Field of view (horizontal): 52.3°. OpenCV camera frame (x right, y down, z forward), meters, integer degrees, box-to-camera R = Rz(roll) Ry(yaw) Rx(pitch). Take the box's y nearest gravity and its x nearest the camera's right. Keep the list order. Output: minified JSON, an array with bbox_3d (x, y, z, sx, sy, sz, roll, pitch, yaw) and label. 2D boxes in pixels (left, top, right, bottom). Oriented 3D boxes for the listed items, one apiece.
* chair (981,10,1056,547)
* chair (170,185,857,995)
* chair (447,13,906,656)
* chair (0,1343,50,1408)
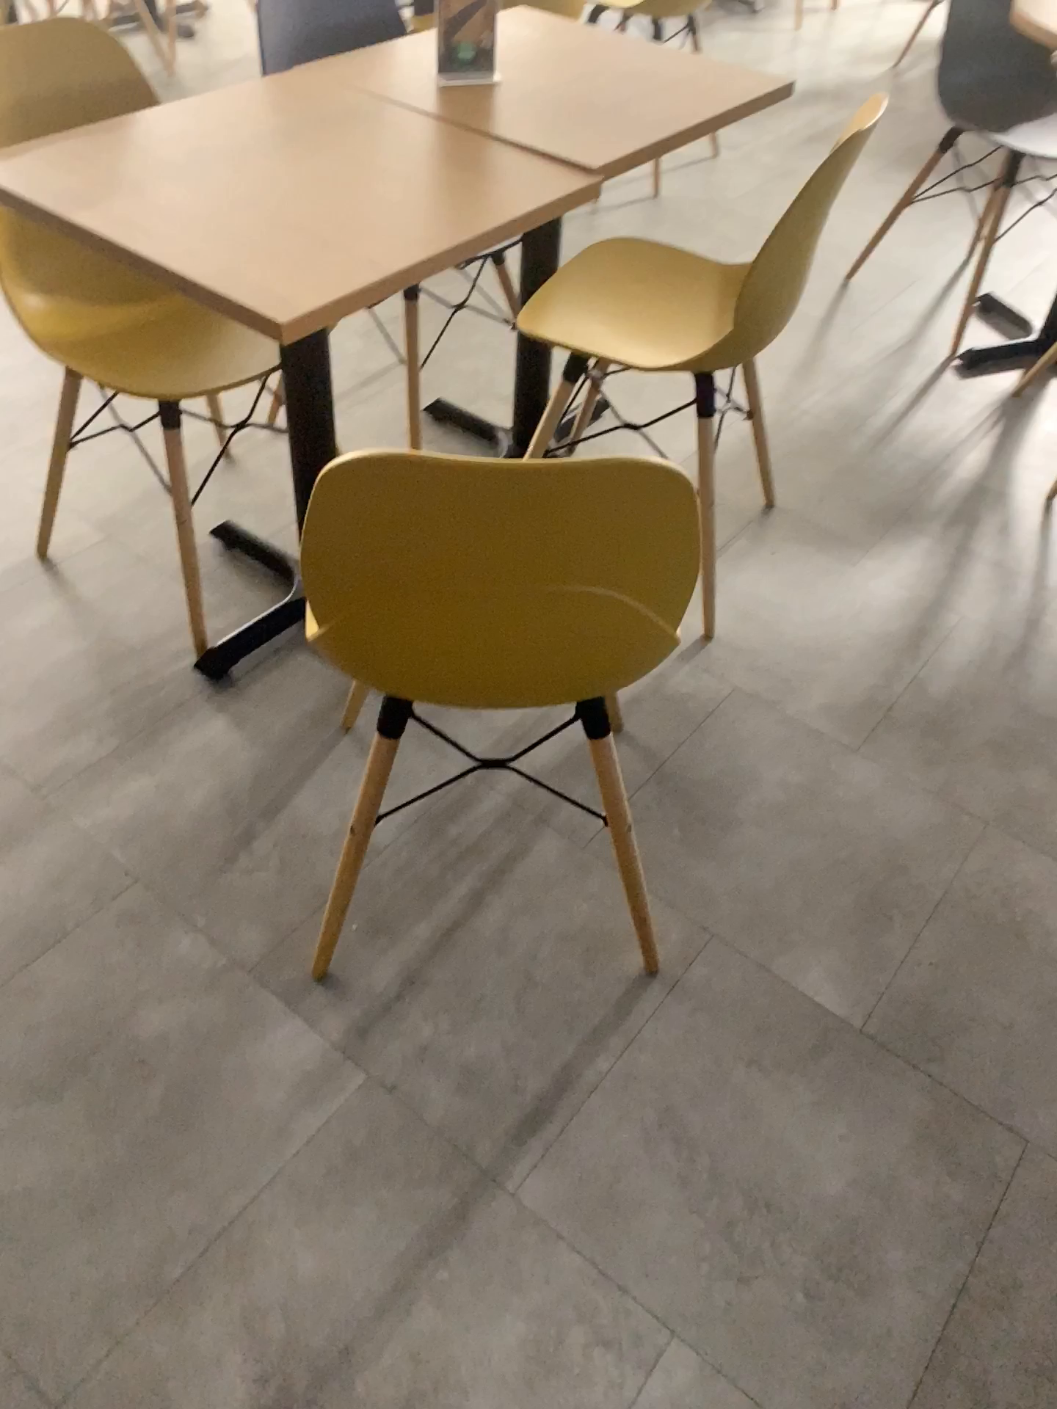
[{"bbox_3d":[1.328,-0.805,2.085,0.516,0.781,0.533,6,45,1],"label":"chair"},{"bbox_3d":[-0.037,-0.097,1.268,0.516,0.781,0.523,0,45,-4],"label":"chair"},{"bbox_3d":[0.213,-0.603,1.792,0.529,0.781,0.521,17,47,13],"label":"chair"},{"bbox_3d":[-0.675,0.726,0.404,0.539,0.781,0.521,15,46,10],"label":"chair"}]
